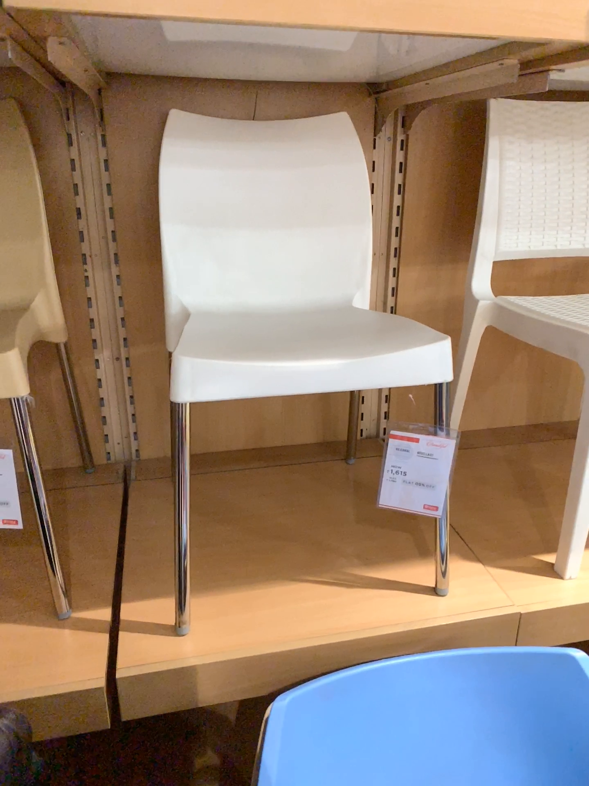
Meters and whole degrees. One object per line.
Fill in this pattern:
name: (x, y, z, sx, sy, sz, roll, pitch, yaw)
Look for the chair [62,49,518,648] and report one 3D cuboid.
chair: (-0.062, -0.130, 1.256, 0.610, 0.917, 0.683, -4, 22, -12)
